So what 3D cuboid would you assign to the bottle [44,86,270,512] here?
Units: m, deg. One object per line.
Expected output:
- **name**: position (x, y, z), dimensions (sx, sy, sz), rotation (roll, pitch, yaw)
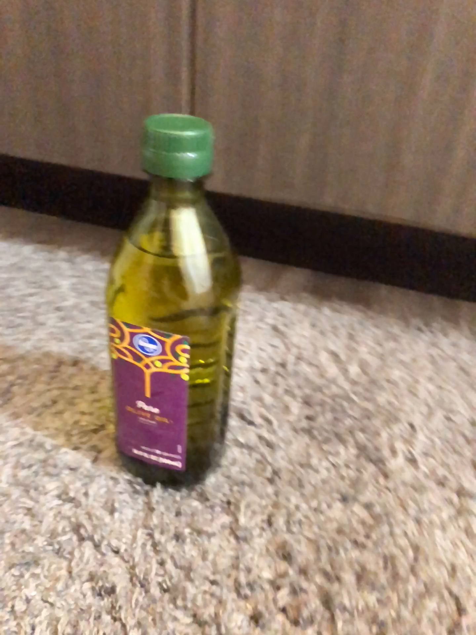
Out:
- **bottle**: position (-0.038, 0.002, 0.278), dimensions (0.070, 0.209, 0.060), rotation (17, 38, 17)
